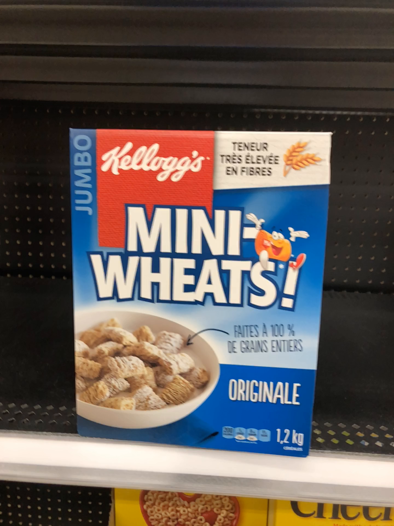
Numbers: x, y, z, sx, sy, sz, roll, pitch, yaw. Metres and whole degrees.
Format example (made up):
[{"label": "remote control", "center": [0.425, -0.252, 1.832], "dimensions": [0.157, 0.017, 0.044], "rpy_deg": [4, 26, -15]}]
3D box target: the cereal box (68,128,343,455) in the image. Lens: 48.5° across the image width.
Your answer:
[{"label": "cereal box", "center": [0.007, 0.010, 0.423], "dimensions": [0.200, 0.249, 0.171], "rpy_deg": [3, 11, 5]}]
